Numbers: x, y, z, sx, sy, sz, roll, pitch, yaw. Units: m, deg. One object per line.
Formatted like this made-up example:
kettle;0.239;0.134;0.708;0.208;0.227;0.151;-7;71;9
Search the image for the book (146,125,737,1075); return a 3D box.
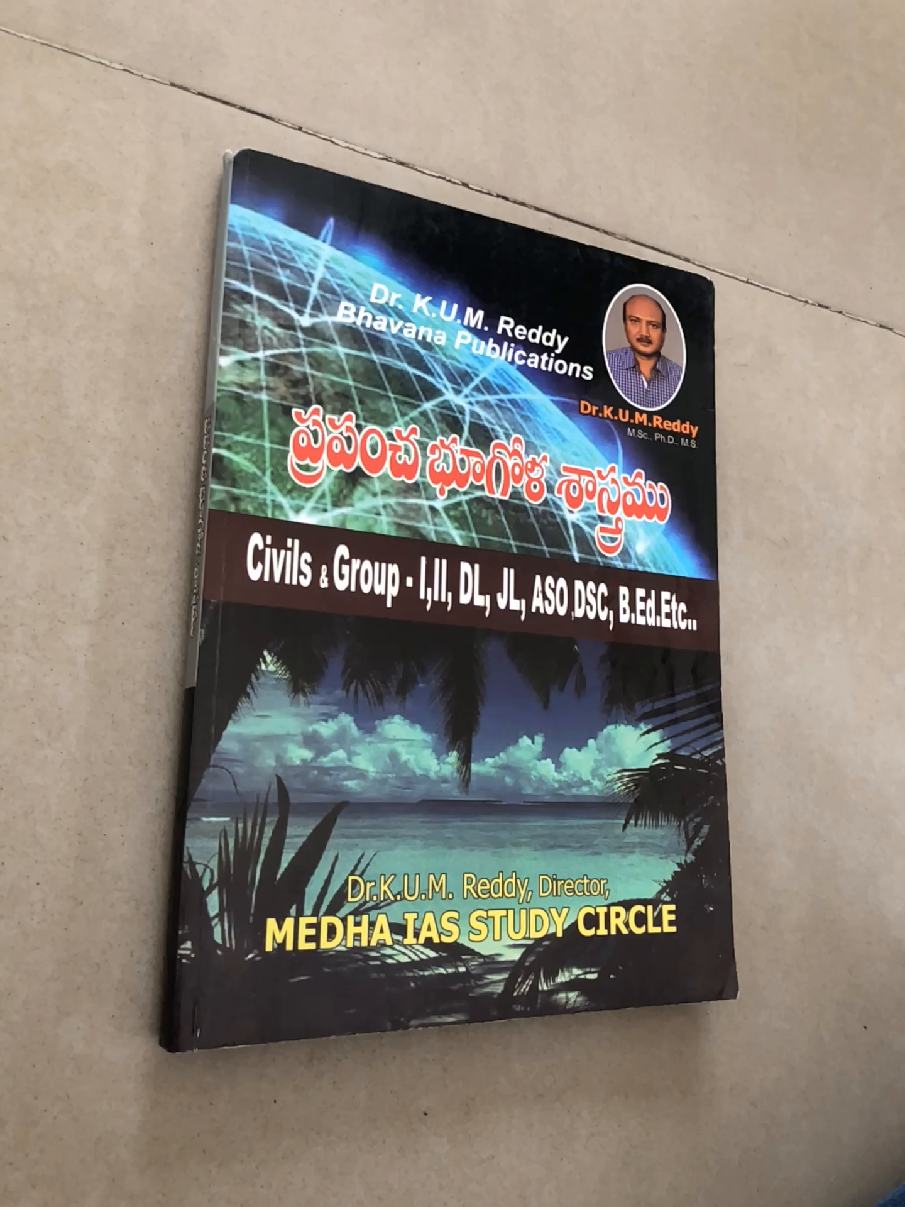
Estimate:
book;0.006;-0.002;0.321;0.180;0.030;0.260;6;78;-25
